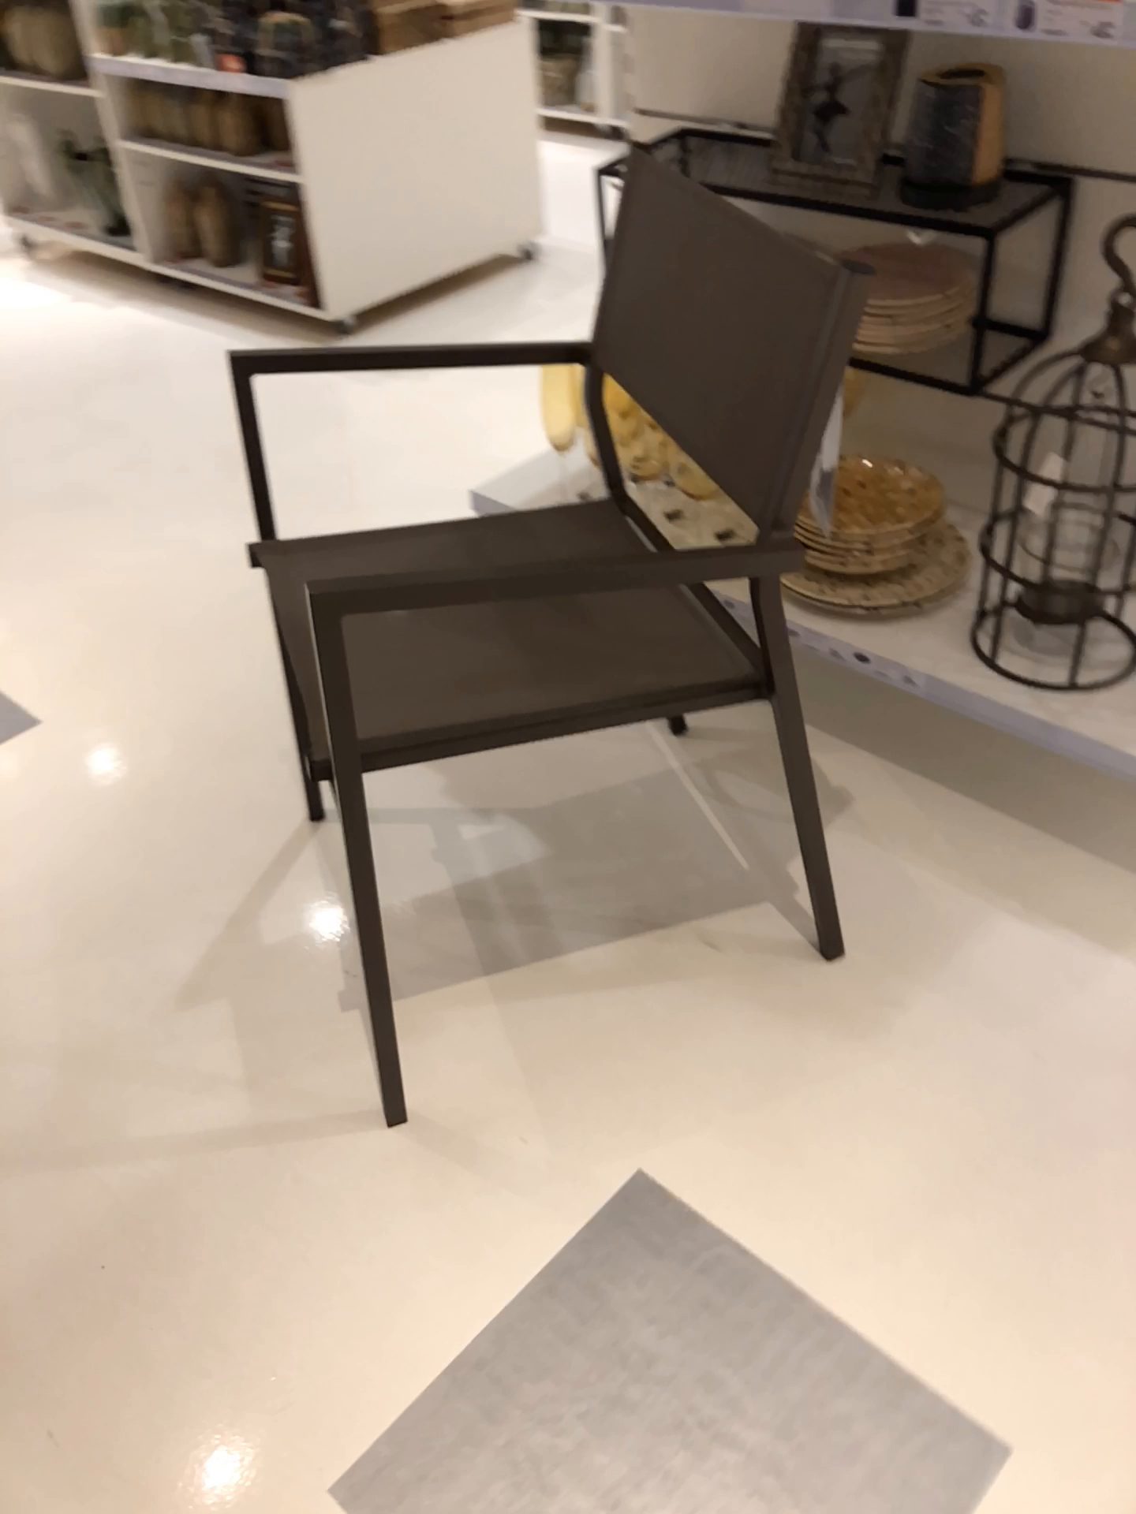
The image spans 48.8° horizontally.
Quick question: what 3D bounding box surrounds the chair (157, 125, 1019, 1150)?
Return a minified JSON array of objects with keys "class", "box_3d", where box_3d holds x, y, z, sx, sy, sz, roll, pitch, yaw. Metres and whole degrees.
[{"class":"chair","box_3d":[-0.013,-0.141,1.295,0.580,0.764,0.574,-14,39,-12]}]
